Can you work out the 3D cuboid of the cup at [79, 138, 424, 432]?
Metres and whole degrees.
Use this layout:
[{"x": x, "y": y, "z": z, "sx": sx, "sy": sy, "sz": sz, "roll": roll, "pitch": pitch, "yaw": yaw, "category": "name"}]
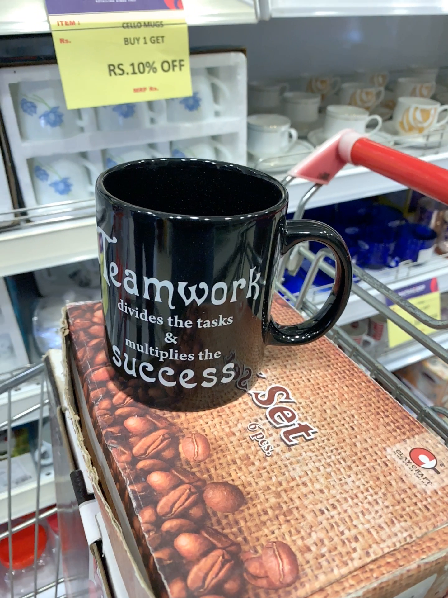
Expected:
[{"x": 0.005, "y": -0.007, "z": 0.221, "sx": 0.120, "sy": 0.100, "sz": 0.080, "roll": 6, "pitch": 34, "yaw": -4, "category": "cup"}]
